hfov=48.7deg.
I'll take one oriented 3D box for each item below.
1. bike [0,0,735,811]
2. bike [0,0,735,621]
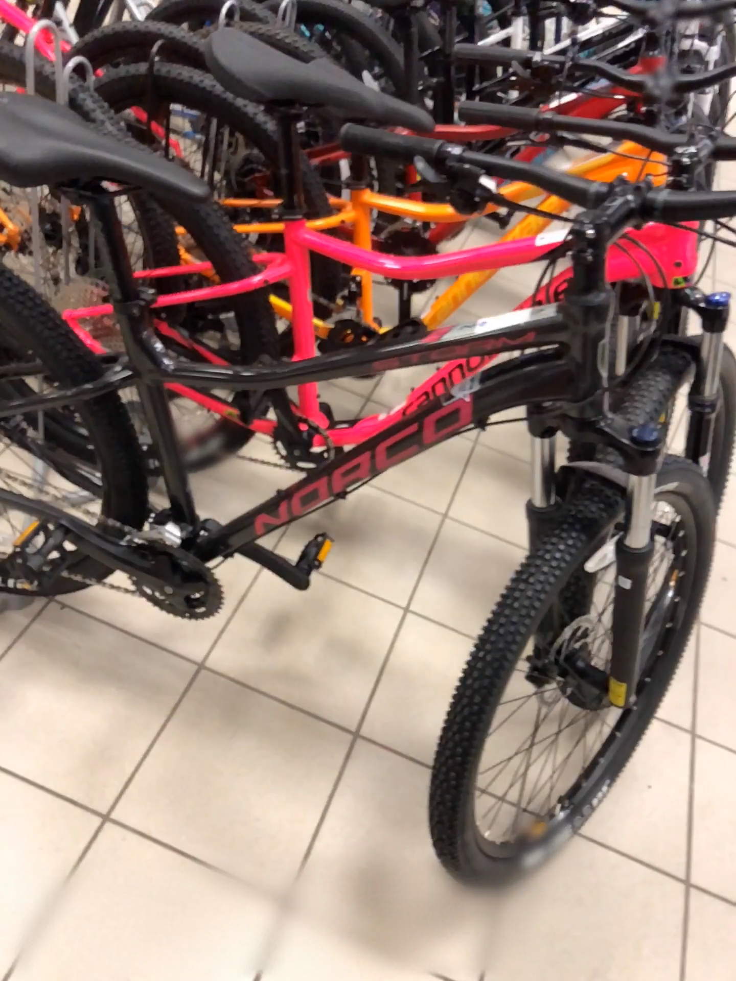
[{"bbox_3d":[-0.129,-0.208,1.270,1.579,1.101,0.688,15,42,-5],"label":"bike"},{"bbox_3d":[0.035,-0.465,1.542,1.564,1.074,0.656,14,42,-2],"label":"bike"}]
